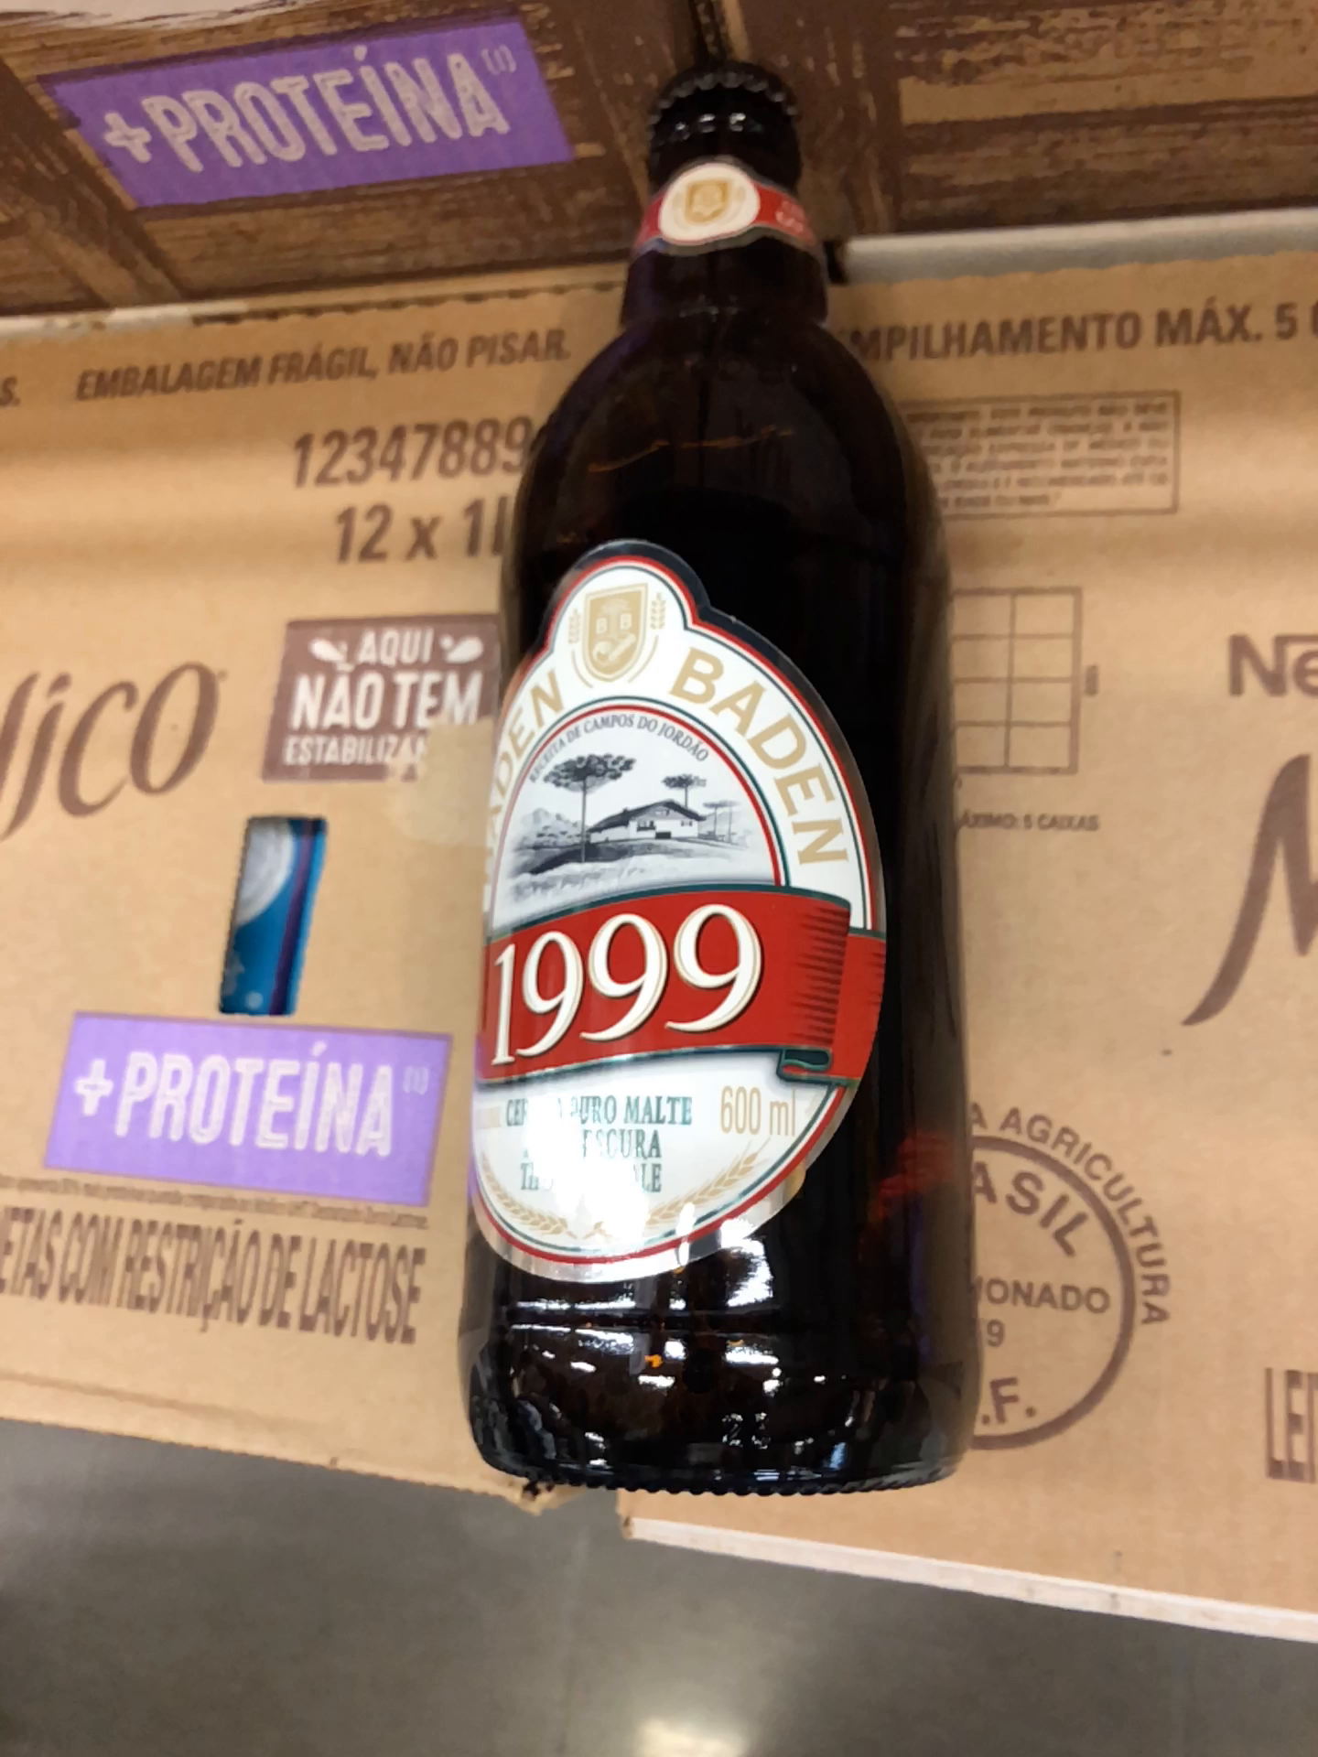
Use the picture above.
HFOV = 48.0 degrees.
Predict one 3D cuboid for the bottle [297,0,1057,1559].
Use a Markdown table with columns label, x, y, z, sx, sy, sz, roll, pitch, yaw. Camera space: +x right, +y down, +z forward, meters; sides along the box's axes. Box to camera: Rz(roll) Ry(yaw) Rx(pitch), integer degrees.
| label | x | y | z | sx | sy | sz | roll | pitch | yaw |
| --- | --- | --- | --- | --- | --- | --- | --- | --- | --- |
| bottle | 0.012 | -0.043 | 0.258 | 0.090 | 0.100 | 0.280 | -4 | 72 | 14 |
